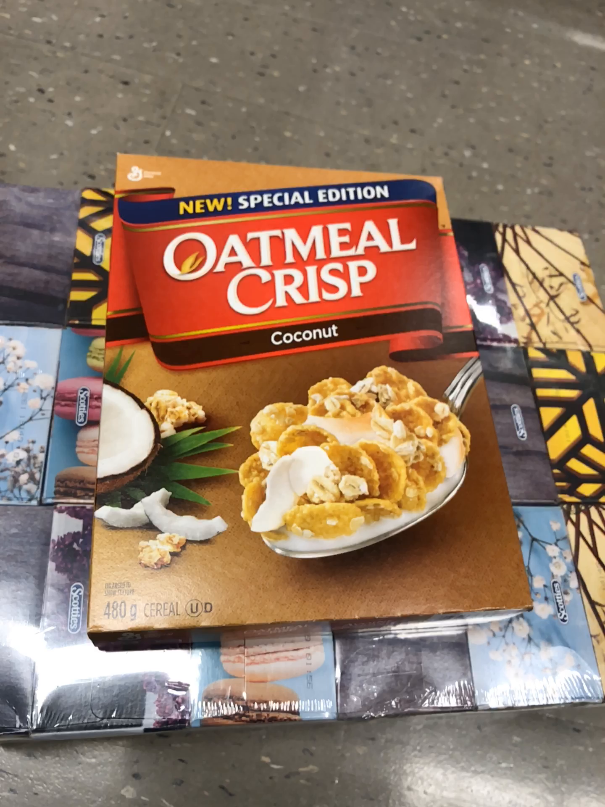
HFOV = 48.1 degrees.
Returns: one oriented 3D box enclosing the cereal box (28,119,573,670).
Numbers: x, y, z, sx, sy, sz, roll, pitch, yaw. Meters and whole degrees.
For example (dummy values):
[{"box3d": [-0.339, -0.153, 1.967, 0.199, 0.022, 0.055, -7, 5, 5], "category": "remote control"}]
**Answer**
[{"box3d": [-0.006, -0.022, 0.357, 0.210, 0.060, 0.290, 0, 60, -7], "category": "cereal box"}]
